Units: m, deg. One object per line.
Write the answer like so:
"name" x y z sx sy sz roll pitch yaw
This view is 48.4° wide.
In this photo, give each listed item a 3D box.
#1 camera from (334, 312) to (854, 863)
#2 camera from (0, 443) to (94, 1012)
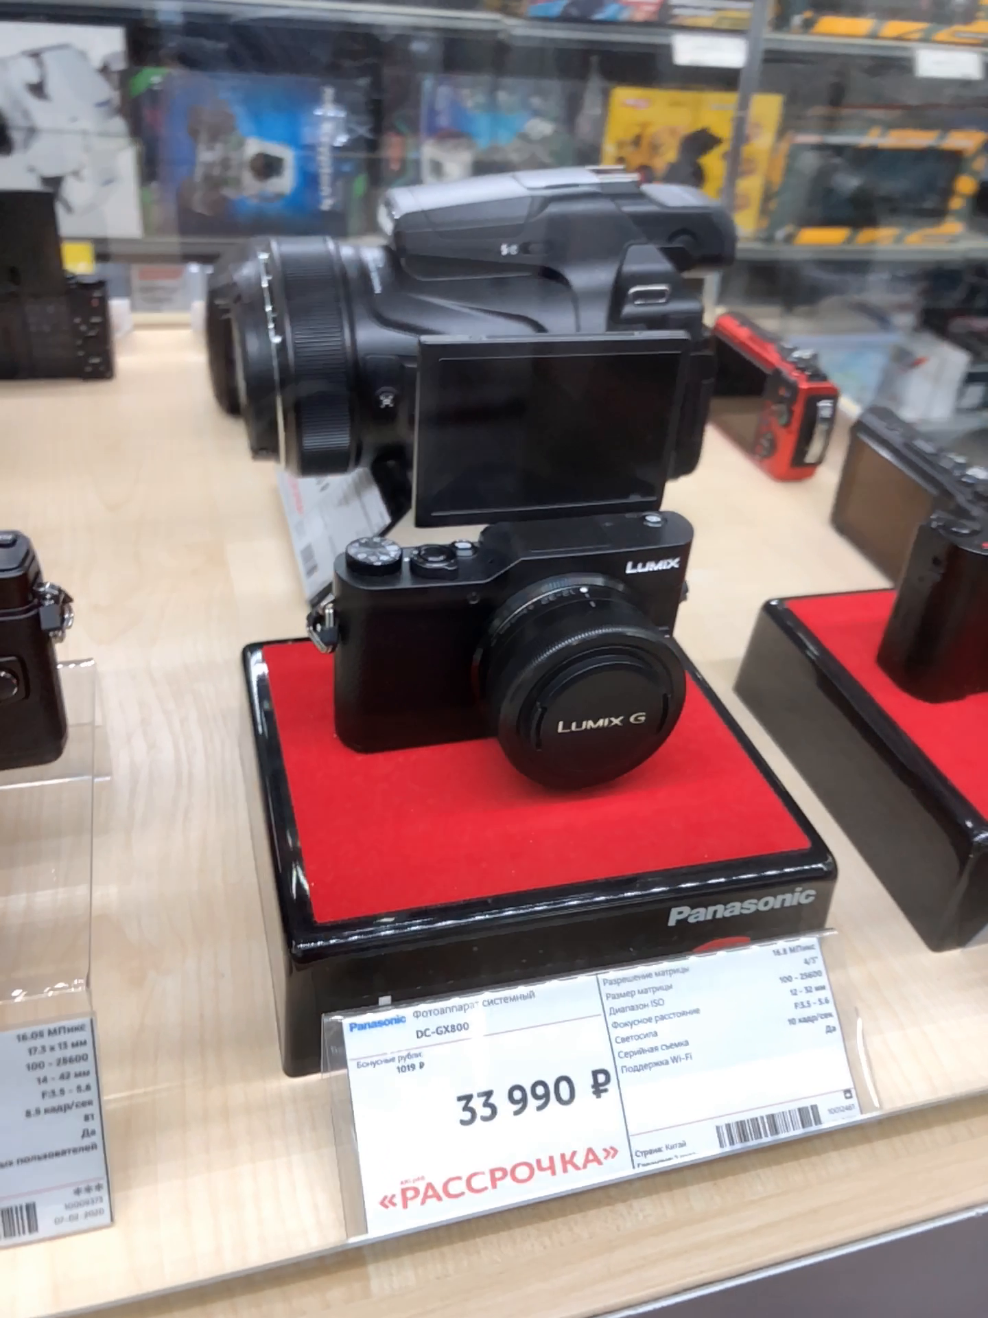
"camera" 0.017 -0.022 0.300 0.108 0.120 0.070 -8 35 -19
"camera" -0.159 0.008 0.265 0.108 0.080 0.103 -5 35 -15
